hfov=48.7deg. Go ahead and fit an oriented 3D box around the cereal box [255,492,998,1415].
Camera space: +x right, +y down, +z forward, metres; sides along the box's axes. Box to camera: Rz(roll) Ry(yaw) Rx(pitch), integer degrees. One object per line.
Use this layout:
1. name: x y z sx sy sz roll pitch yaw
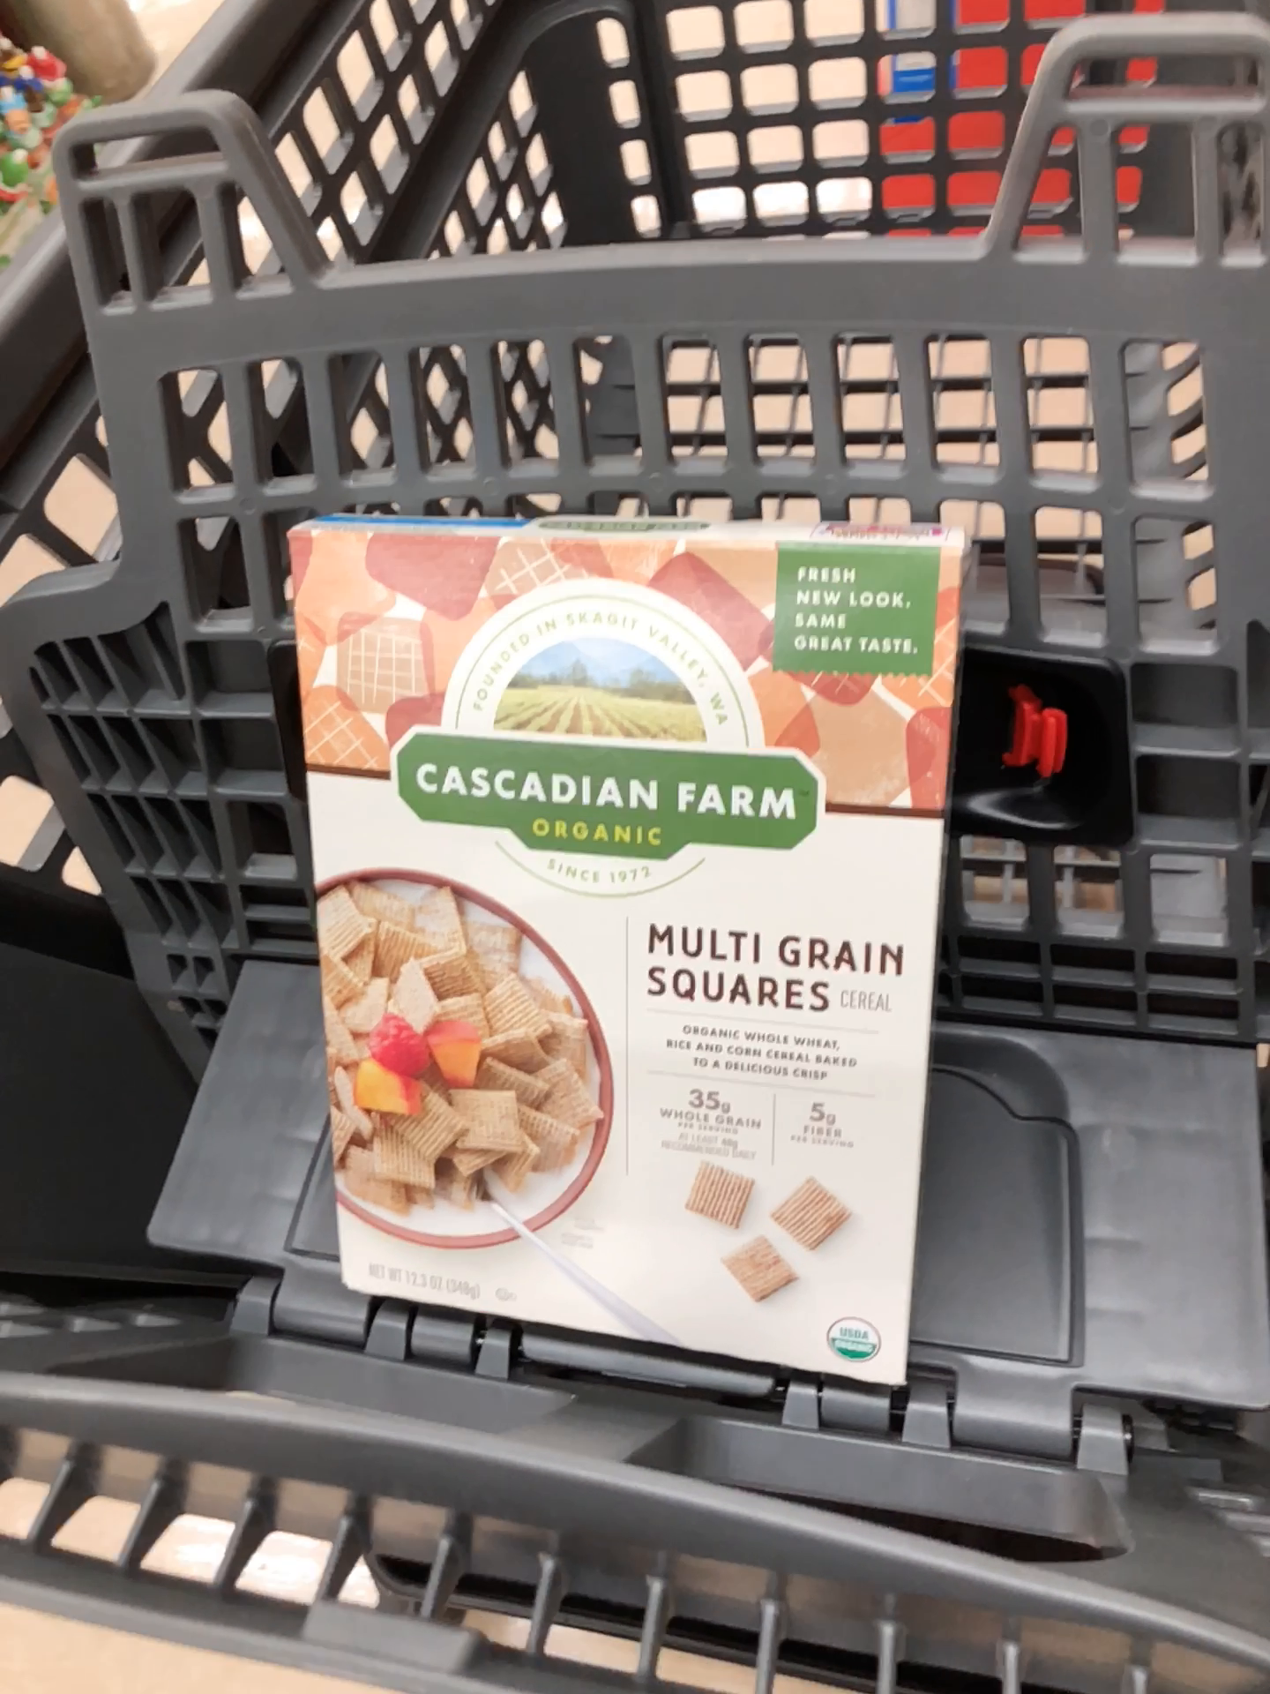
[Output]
1. cereal box: -0.003 0.028 0.433 0.200 0.260 0.060 5 18 16
